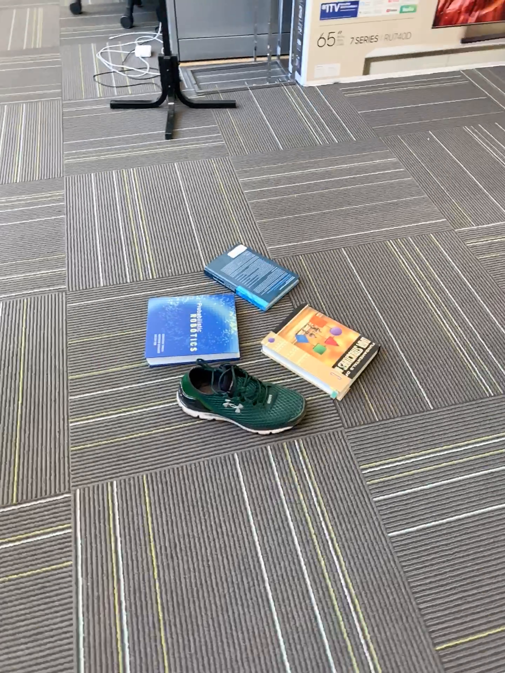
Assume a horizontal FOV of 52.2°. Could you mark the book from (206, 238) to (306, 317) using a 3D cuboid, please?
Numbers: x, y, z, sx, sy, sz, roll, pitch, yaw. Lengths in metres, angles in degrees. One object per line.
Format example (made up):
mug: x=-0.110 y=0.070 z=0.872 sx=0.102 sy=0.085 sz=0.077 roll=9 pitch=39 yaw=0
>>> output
book: x=0.008 y=-0.187 z=1.574 sx=0.247 sy=0.040 sz=0.177 roll=34 pitch=57 yaw=22

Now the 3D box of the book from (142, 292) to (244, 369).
book: x=-0.152 y=-0.020 z=1.314 sx=0.242 sy=0.040 sz=0.205 roll=-4 pitch=50 yaw=-4

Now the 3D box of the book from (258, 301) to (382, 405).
book: x=0.166 y=0.033 z=1.282 sx=0.242 sy=0.040 sz=0.185 roll=32 pitch=56 yaw=24
